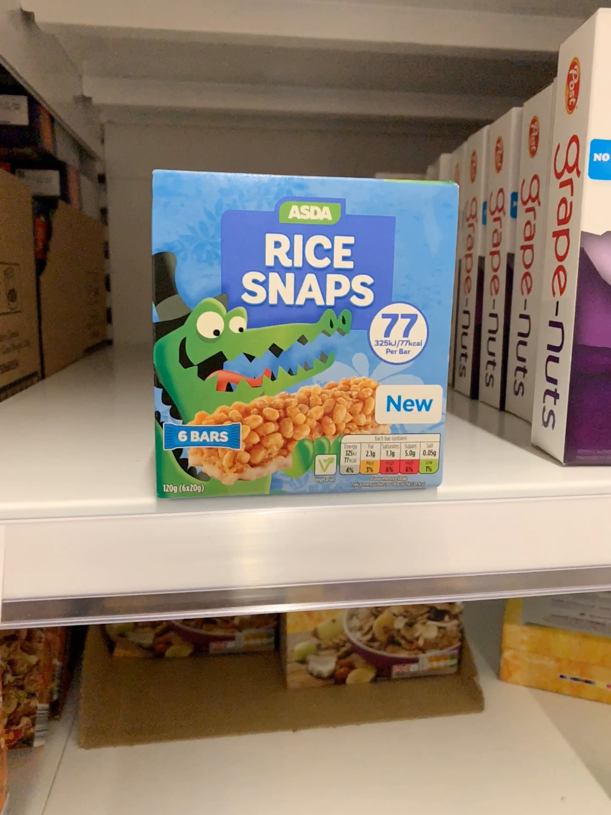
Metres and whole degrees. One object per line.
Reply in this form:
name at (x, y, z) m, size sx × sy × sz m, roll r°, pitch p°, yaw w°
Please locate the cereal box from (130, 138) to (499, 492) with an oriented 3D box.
cereal box at (0.001, -0.036, 0.272) m, size 0.140 × 0.130 × 0.050 m, roll 0°, pitch 10°, yaw -10°
